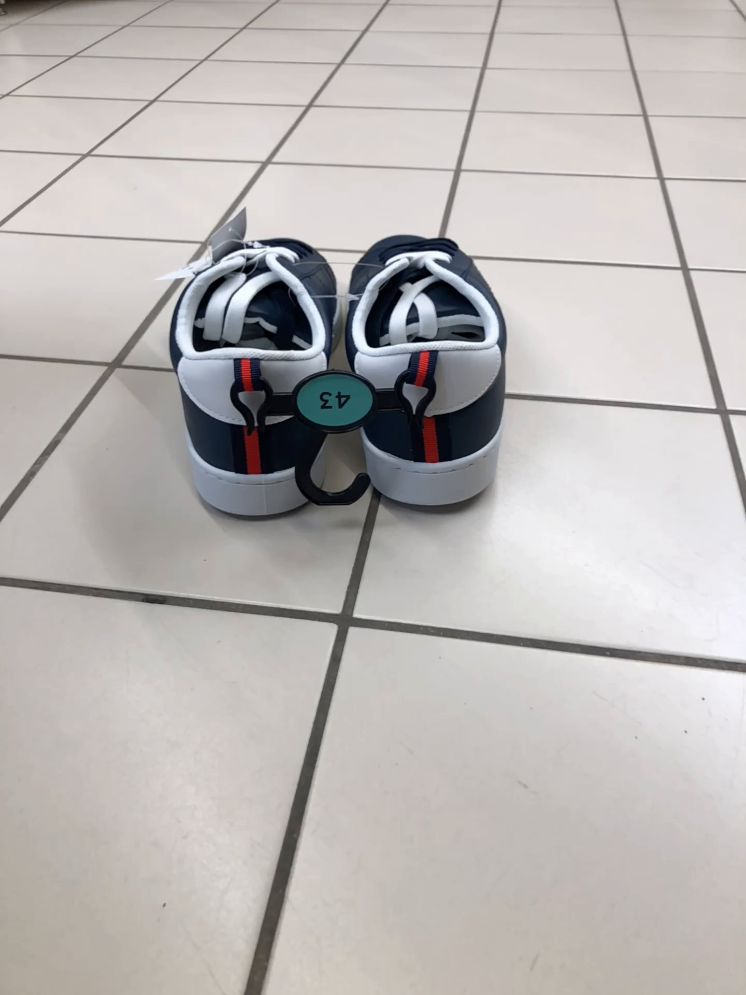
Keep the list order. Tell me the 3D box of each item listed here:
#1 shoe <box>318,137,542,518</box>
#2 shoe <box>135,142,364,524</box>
[{"bbox_3d":[0.019,-0.124,0.510,0.100,0.099,0.292,-3,40,-2],"label":"shoe"},{"bbox_3d":[-0.069,-0.122,0.514,0.100,0.099,0.292,-4,40,-3],"label":"shoe"}]
